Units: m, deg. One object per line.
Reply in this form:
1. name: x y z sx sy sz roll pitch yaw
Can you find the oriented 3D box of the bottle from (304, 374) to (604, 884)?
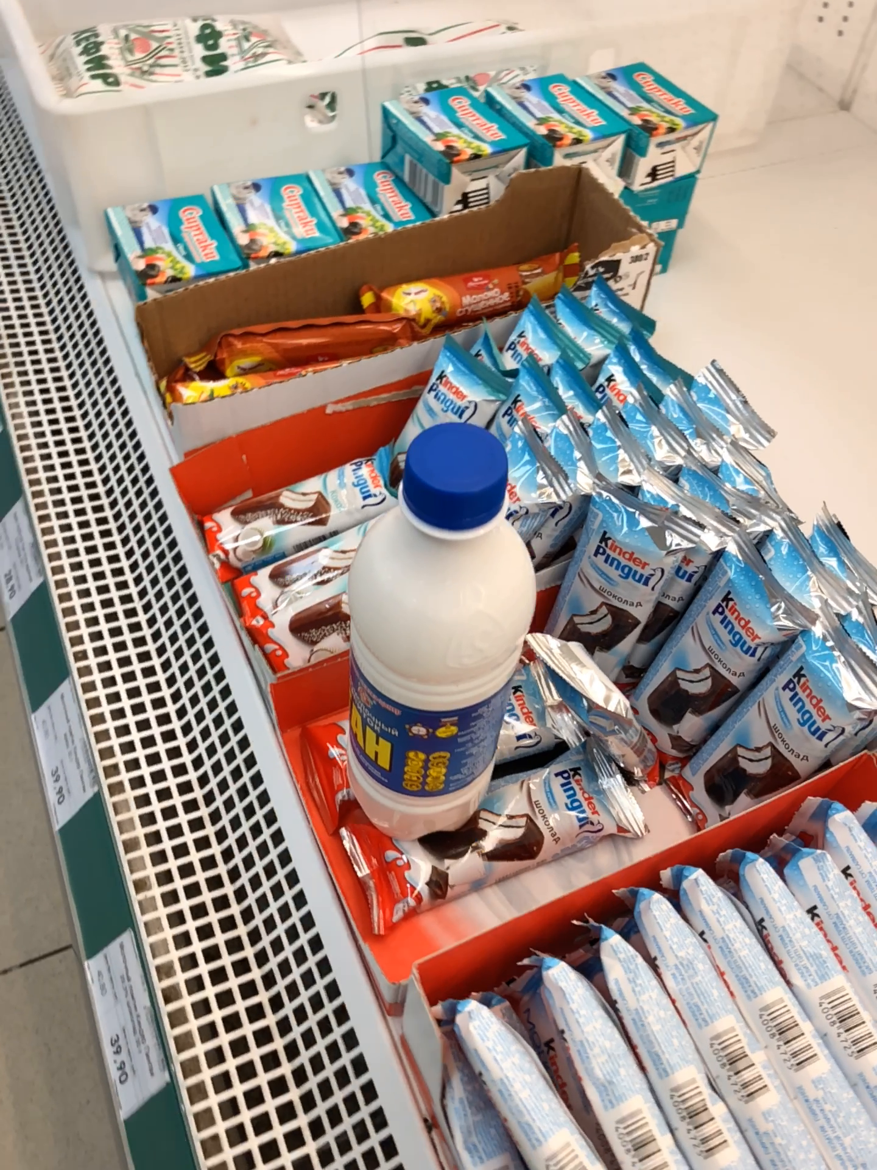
1. bottle: -0.003 0.030 0.352 0.059 0.203 0.064 2 52 -3
